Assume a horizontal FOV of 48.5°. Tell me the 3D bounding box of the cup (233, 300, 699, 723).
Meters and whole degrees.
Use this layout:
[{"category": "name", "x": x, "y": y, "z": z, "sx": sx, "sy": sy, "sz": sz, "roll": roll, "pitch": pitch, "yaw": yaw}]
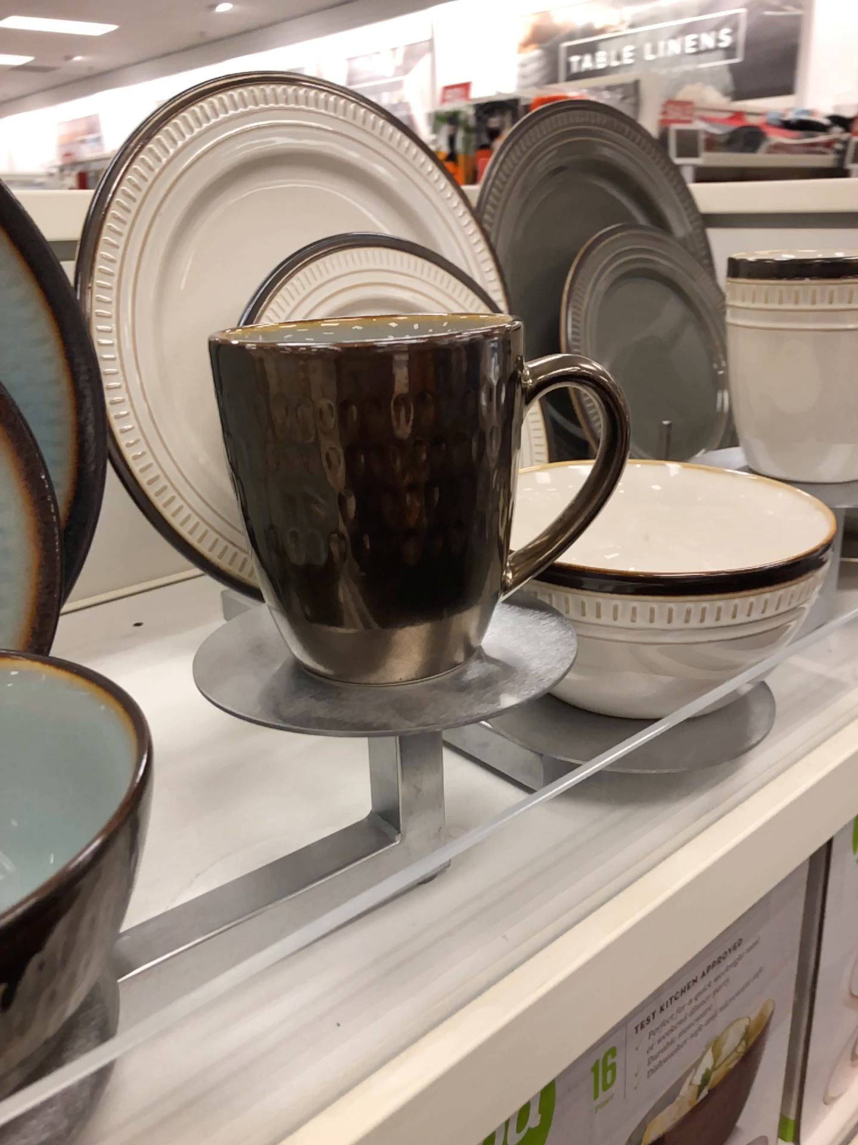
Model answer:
[{"category": "cup", "x": 0.006, "y": -0.026, "z": 0.294, "sx": 0.117, "sy": 0.100, "sz": 0.084, "roll": -6, "pitch": 21, "yaw": -13}]
